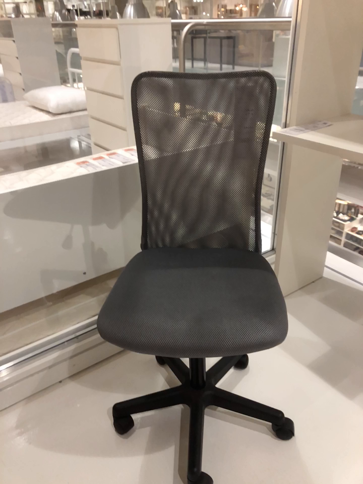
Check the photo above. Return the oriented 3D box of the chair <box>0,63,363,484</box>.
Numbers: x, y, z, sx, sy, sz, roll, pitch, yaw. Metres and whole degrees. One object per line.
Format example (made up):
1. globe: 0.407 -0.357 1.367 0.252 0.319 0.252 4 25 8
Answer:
1. chair: 0.049 0.080 1.031 0.580 0.933 0.605 0 28 4
